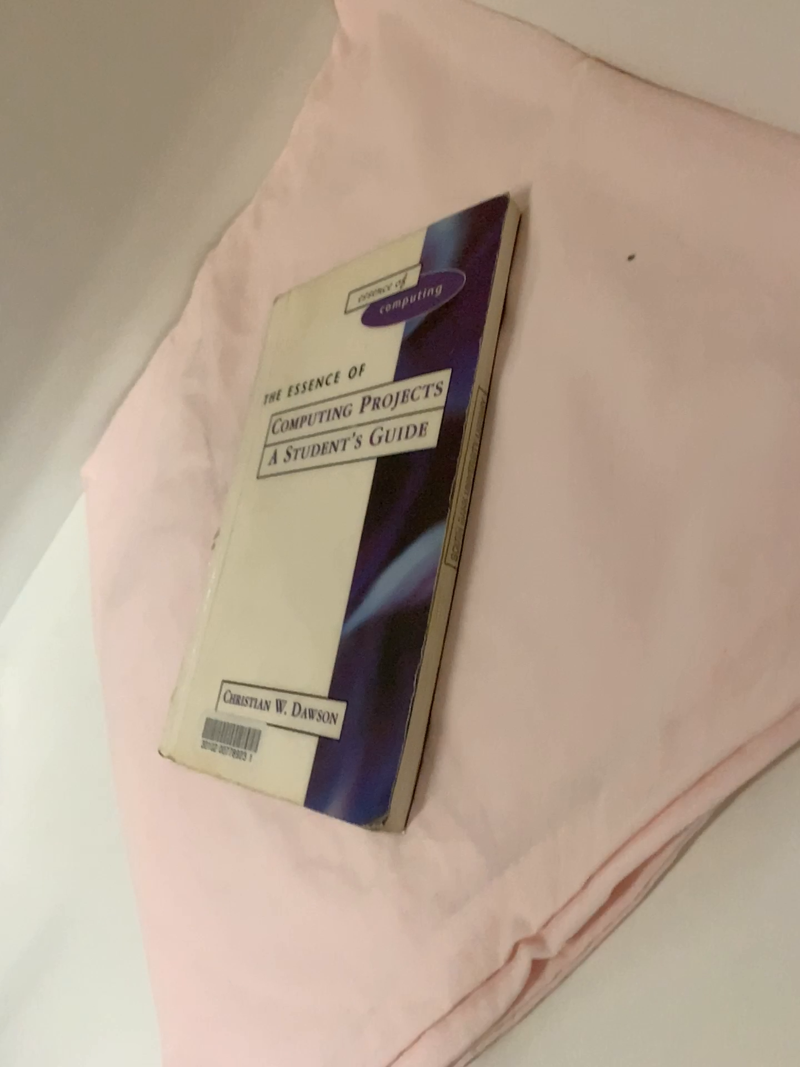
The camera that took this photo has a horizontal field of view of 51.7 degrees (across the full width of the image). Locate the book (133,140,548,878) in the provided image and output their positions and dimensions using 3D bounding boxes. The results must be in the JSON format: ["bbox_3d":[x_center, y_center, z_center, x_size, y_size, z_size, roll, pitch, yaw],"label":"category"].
[{"bbox_3d":[-0.031,-0.015,0.346,0.171,0.020,0.260,-6,67,49],"label":"book"}]
